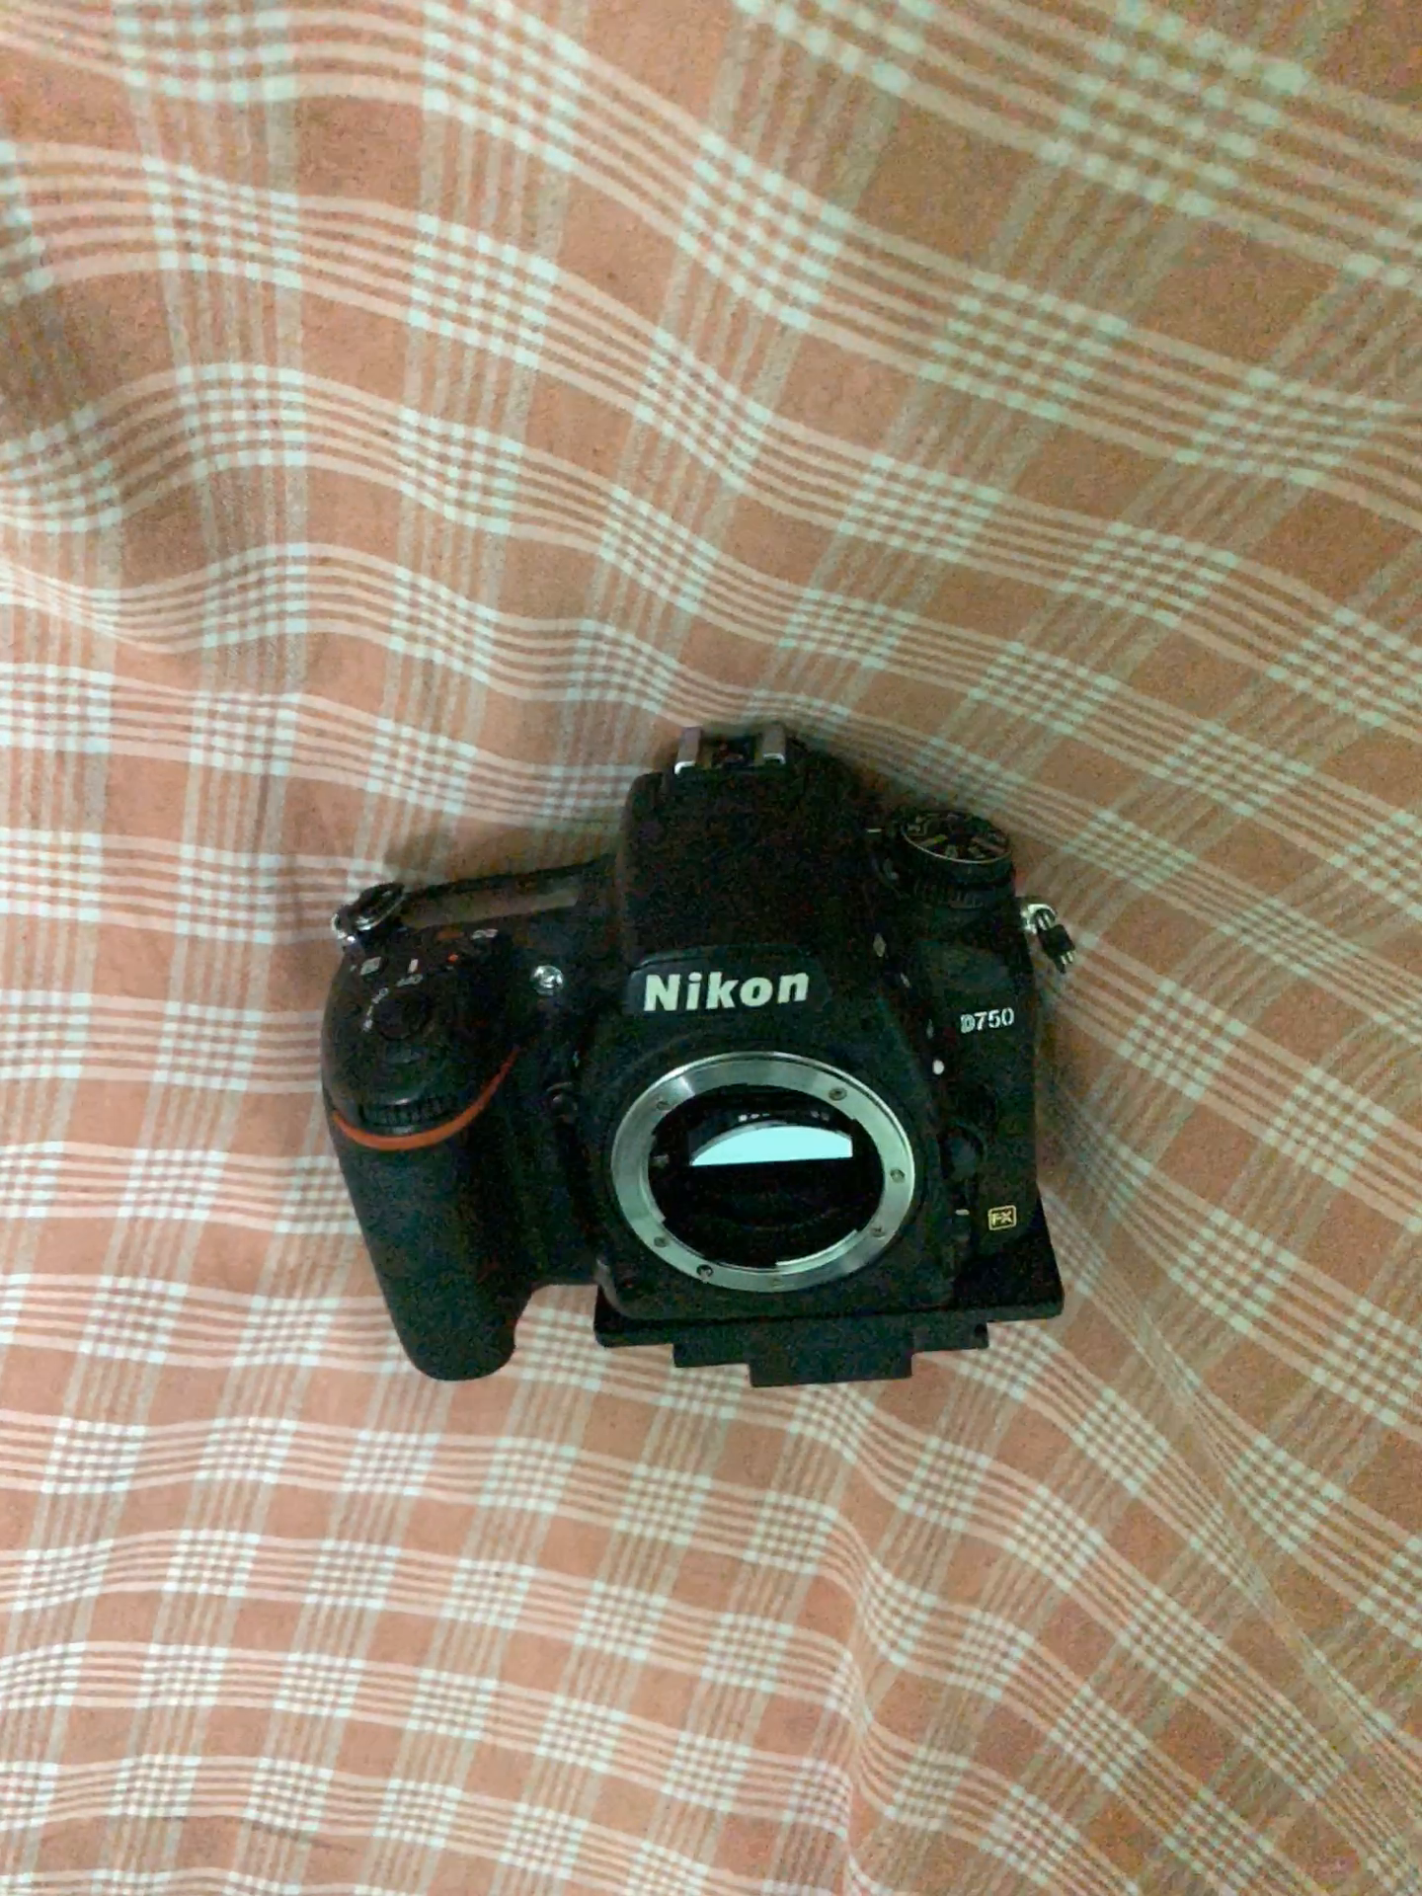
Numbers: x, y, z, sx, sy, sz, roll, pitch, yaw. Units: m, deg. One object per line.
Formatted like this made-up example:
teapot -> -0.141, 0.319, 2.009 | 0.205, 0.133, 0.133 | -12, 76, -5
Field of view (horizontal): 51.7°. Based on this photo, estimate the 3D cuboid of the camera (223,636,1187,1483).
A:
camera -> 0.006, 0.023, 0.287 | 0.145, 0.085, 0.125 | -6, 121, 5
